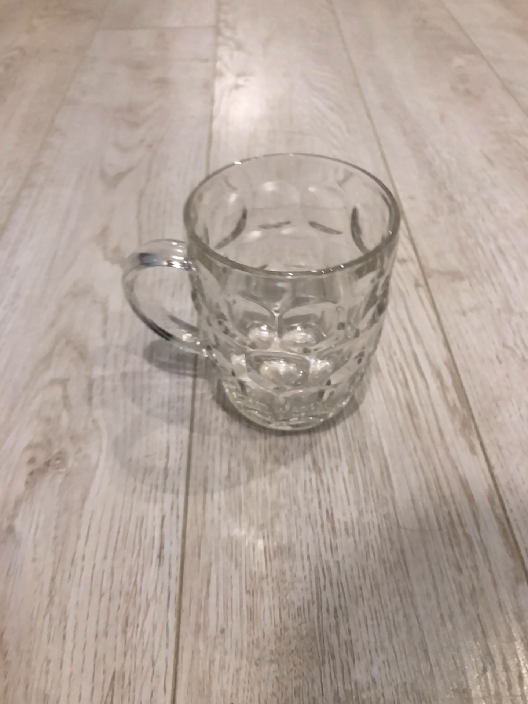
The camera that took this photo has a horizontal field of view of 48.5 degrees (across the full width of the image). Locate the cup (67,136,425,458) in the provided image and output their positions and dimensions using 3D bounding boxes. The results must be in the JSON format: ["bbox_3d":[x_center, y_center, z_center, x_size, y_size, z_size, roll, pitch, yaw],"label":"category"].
[{"bbox_3d":[-0.001,-0.029,0.299,0.140,0.109,0.101,7,46,7],"label":"cup"}]
